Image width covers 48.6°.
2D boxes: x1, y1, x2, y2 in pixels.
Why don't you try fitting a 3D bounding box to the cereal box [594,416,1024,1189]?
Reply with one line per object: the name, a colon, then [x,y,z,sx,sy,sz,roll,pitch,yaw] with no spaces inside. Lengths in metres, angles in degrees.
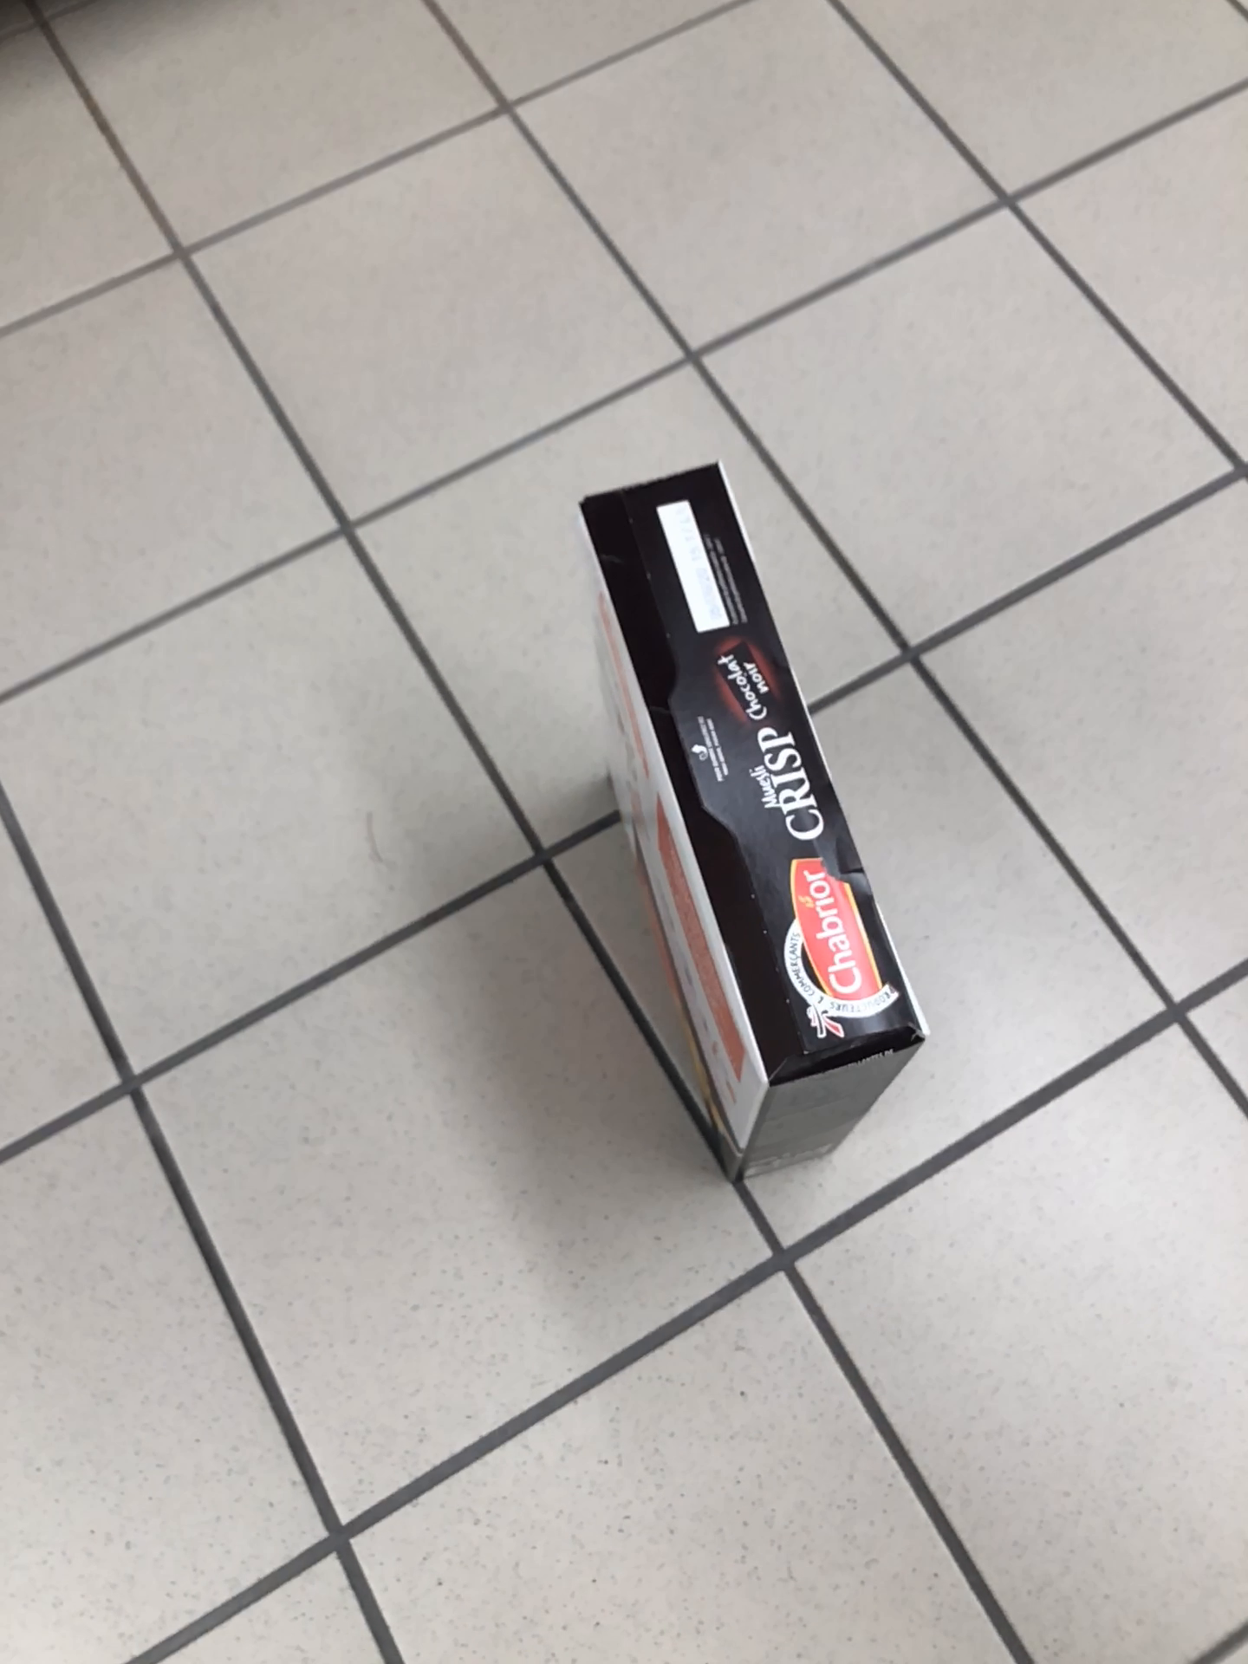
cereal box: [0.049,0.009,0.499,0.060,0.230,0.200,-15,70,-5]
